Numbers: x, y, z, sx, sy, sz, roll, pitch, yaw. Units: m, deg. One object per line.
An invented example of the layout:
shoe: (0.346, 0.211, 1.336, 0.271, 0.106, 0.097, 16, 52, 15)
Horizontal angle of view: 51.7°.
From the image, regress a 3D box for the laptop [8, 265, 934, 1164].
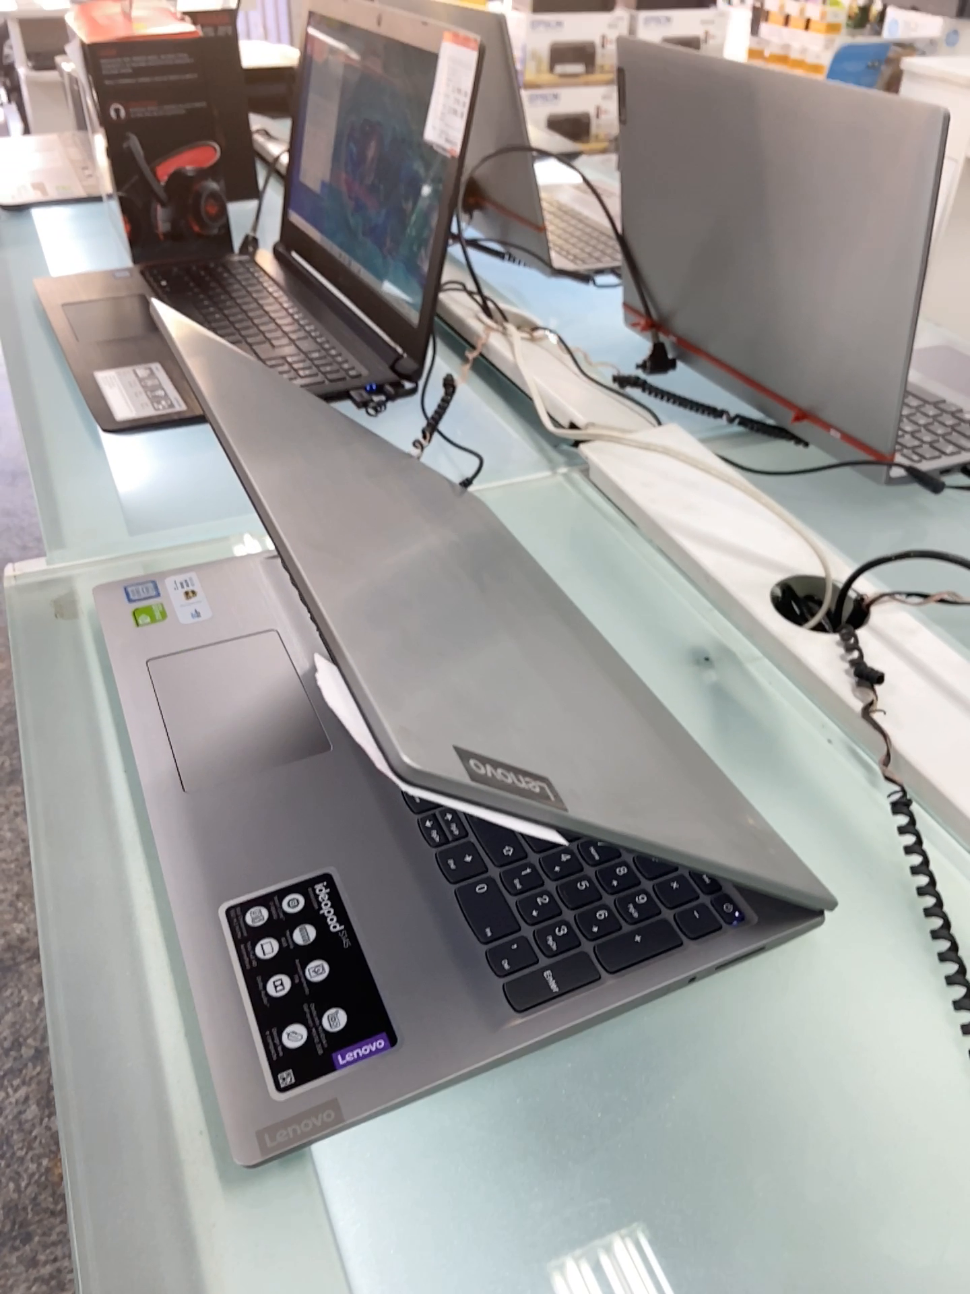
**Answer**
laptop: (-0.047, -0.024, 0.454, 0.245, 0.160, 0.363, -15, 41, -20)
